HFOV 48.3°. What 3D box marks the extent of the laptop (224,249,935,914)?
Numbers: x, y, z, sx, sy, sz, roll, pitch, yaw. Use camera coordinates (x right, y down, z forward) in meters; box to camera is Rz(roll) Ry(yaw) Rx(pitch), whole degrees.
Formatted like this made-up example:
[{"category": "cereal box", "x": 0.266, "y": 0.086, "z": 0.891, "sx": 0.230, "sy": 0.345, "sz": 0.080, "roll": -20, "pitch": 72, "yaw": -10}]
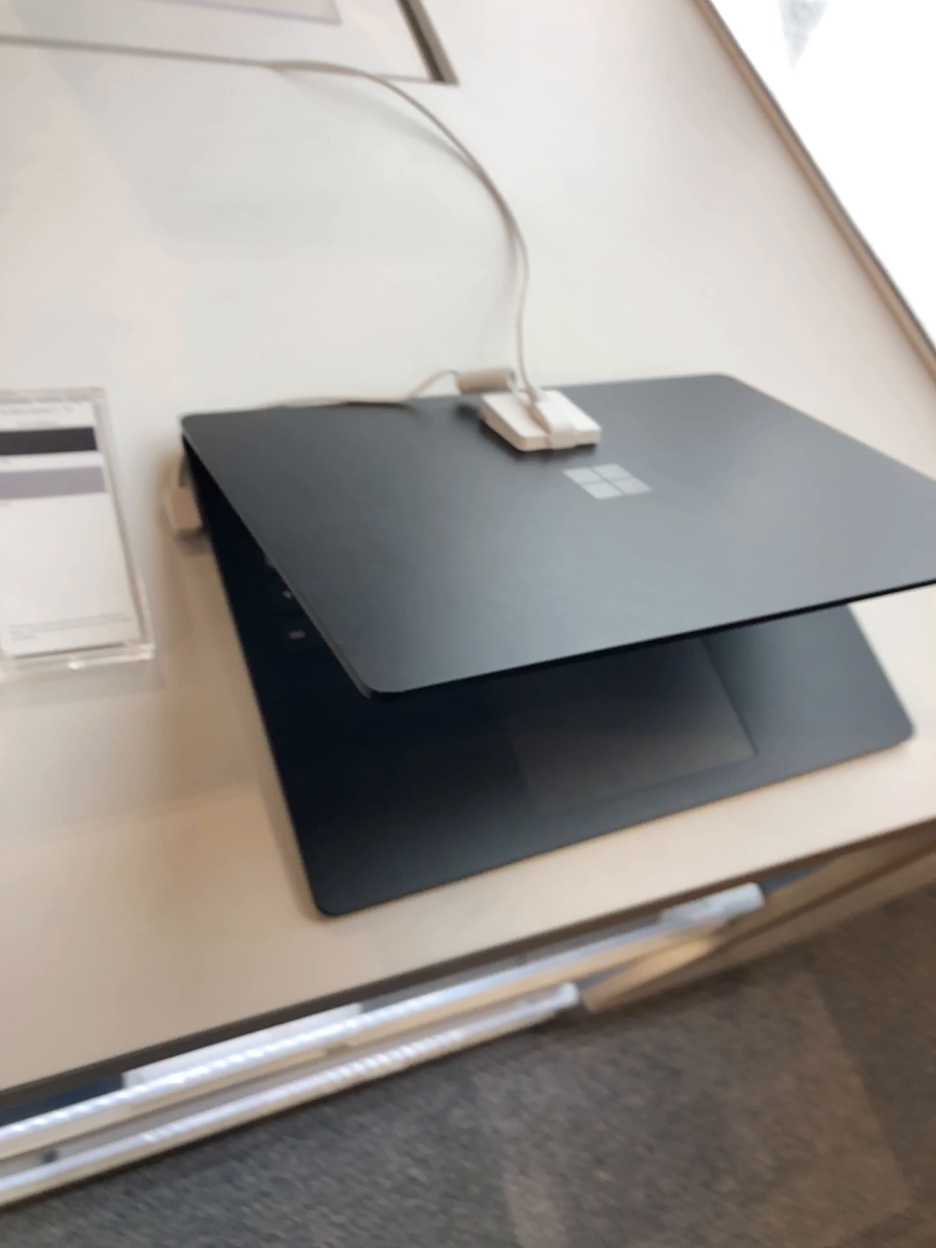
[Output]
[{"category": "laptop", "x": 0.068, "y": -0.035, "z": 0.418, "sx": 0.285, "sy": 0.086, "sz": 0.190, "roll": -11, "pitch": 72, "yaw": -27}]
